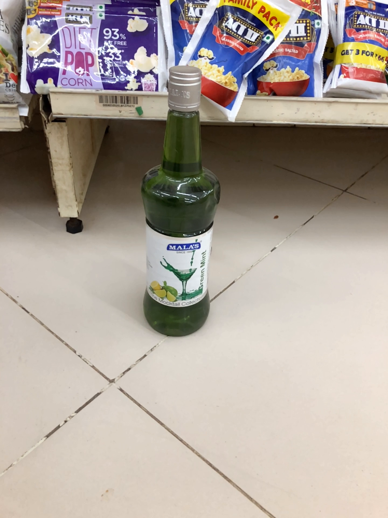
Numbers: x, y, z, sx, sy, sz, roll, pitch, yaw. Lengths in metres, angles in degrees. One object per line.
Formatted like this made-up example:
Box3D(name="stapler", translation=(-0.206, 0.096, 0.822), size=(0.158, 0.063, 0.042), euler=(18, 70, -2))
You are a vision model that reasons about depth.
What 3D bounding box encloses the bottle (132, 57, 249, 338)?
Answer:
Box3D(name="bottle", translation=(-0.012, -0.049, 0.448), size=(0.090, 0.278, 0.091), euler=(2, 37, -1))
